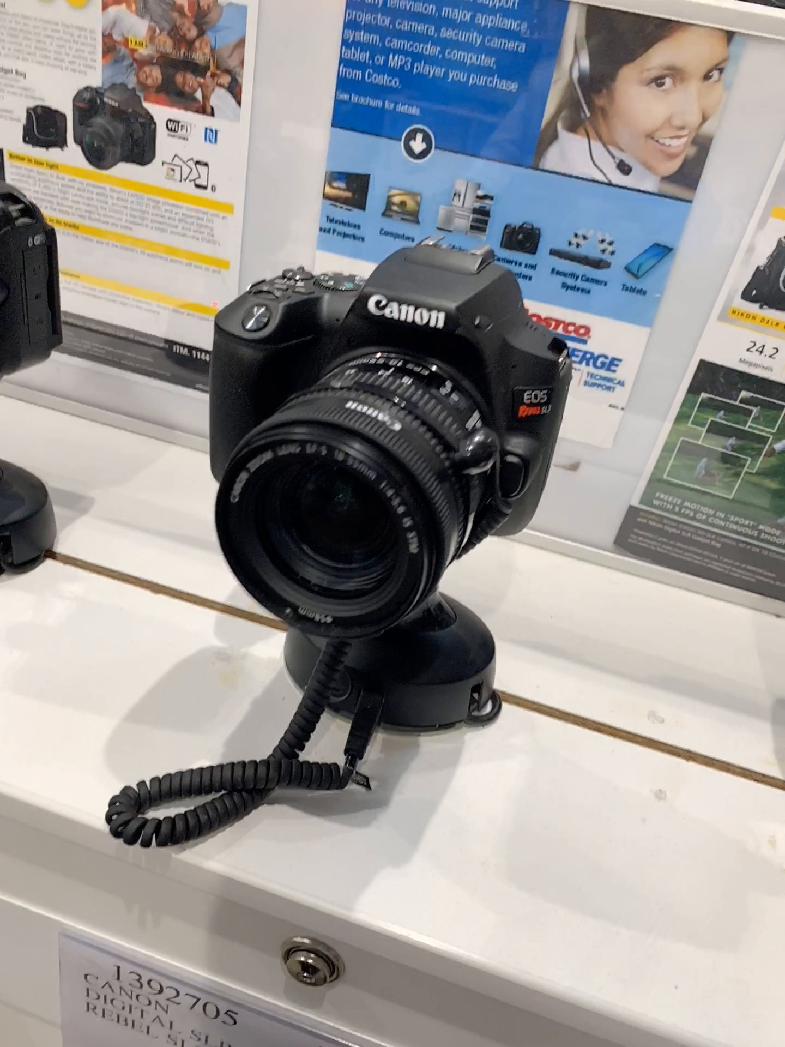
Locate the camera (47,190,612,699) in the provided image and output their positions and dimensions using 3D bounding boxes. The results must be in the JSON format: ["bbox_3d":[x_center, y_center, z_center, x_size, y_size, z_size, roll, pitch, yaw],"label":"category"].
[{"bbox_3d":[-0.010,-0.034,0.240,0.120,0.089,0.111,14,31,11],"label":"camera"}]
